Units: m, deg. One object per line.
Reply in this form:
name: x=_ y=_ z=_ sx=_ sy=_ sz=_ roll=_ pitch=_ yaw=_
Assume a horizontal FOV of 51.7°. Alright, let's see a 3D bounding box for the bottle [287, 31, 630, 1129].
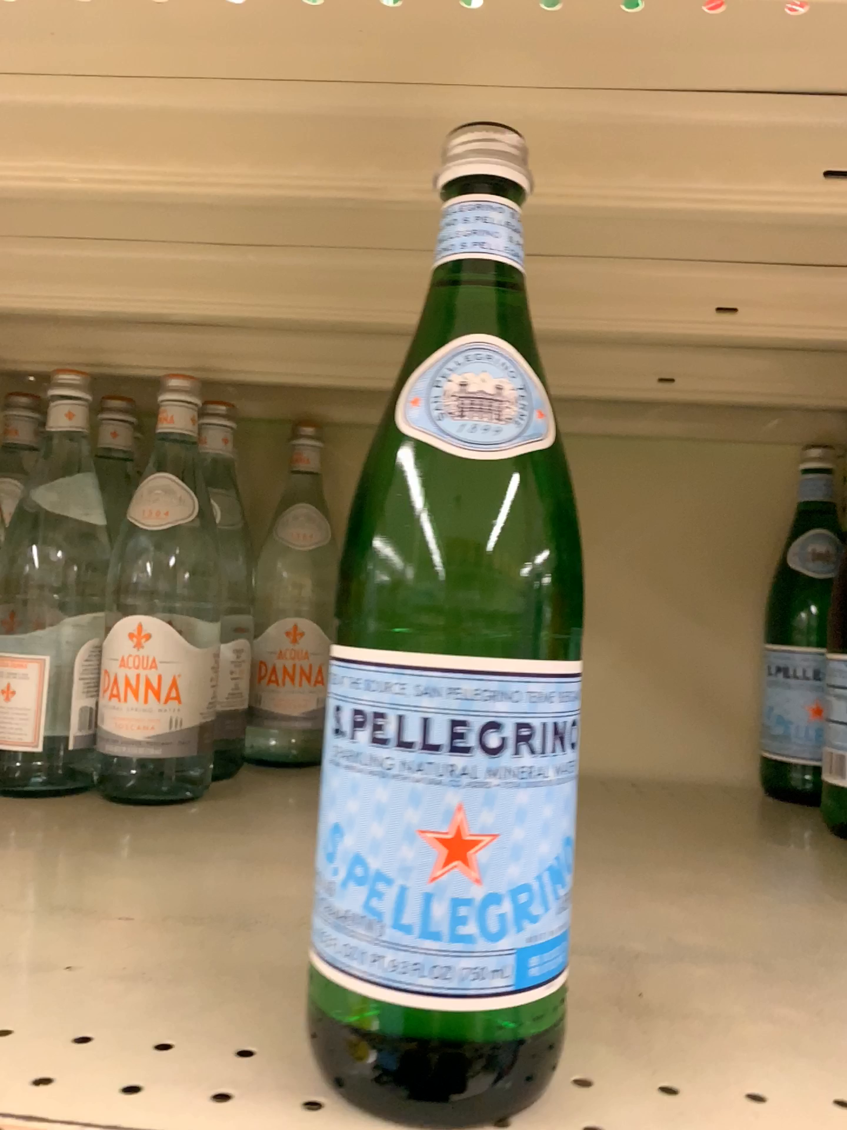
bottle: x=0.015 y=0.005 z=0.269 sx=0.078 sy=0.302 sz=0.065 roll=3 pitch=-2 yaw=10
